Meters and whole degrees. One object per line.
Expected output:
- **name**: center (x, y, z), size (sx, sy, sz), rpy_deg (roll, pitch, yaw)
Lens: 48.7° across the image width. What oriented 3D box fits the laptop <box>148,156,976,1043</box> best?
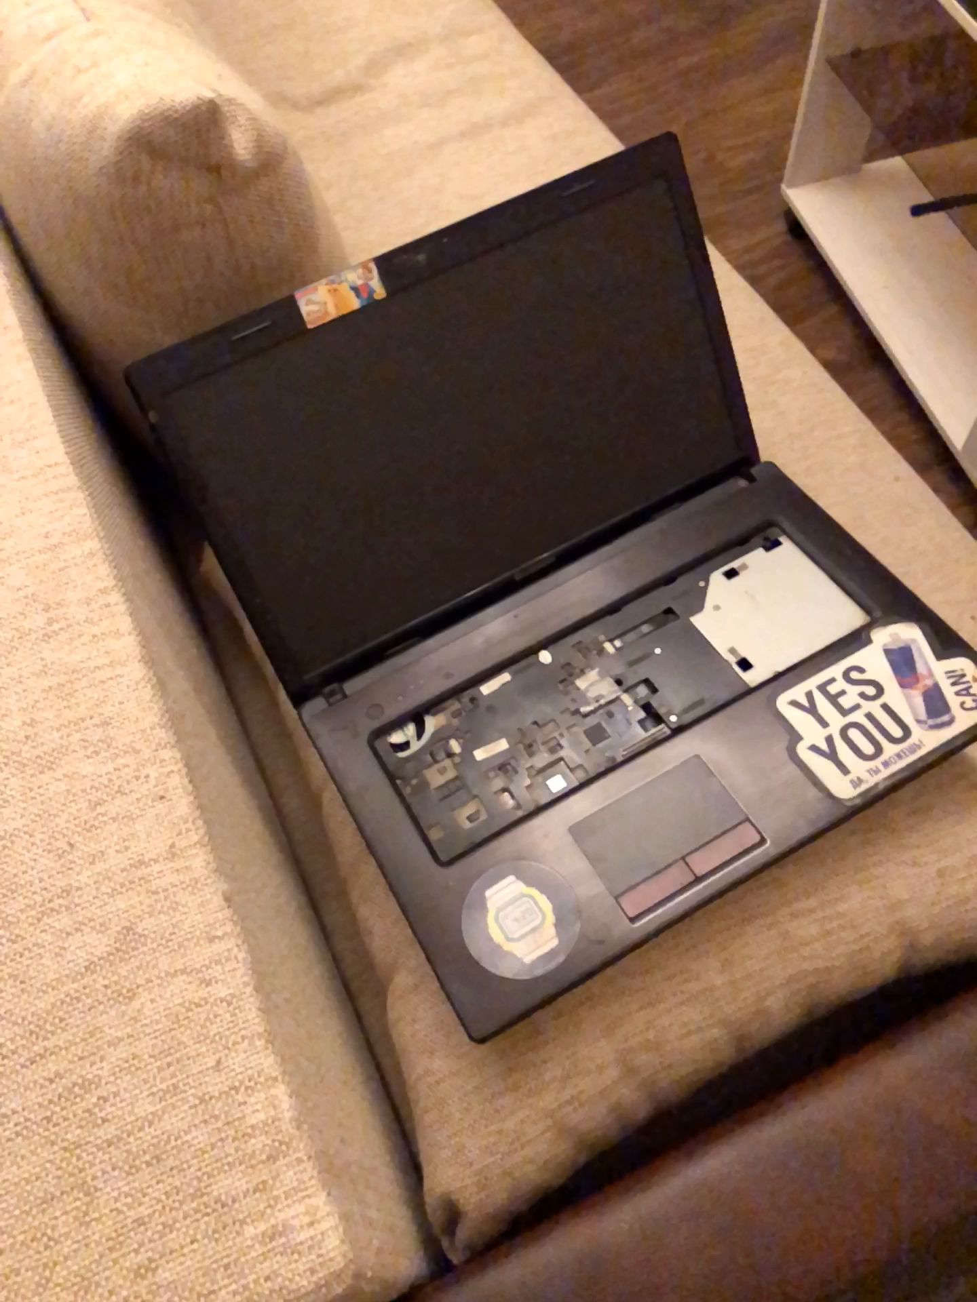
- **laptop**: center (0.067, -0.060, 0.695), size (0.412, 0.198, 0.409), rpy_deg (-27, 58, -12)
